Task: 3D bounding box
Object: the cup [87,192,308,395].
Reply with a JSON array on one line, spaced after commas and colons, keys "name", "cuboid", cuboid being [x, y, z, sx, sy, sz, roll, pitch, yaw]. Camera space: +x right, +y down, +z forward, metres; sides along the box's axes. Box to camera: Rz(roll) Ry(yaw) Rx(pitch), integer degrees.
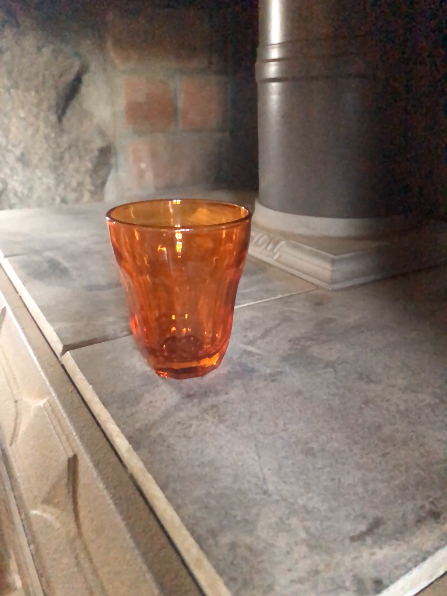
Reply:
[{"name": "cup", "cuboid": [-0.015, -0.010, 0.257, 0.080, 0.070, 0.080, 0, 21, 0]}]
